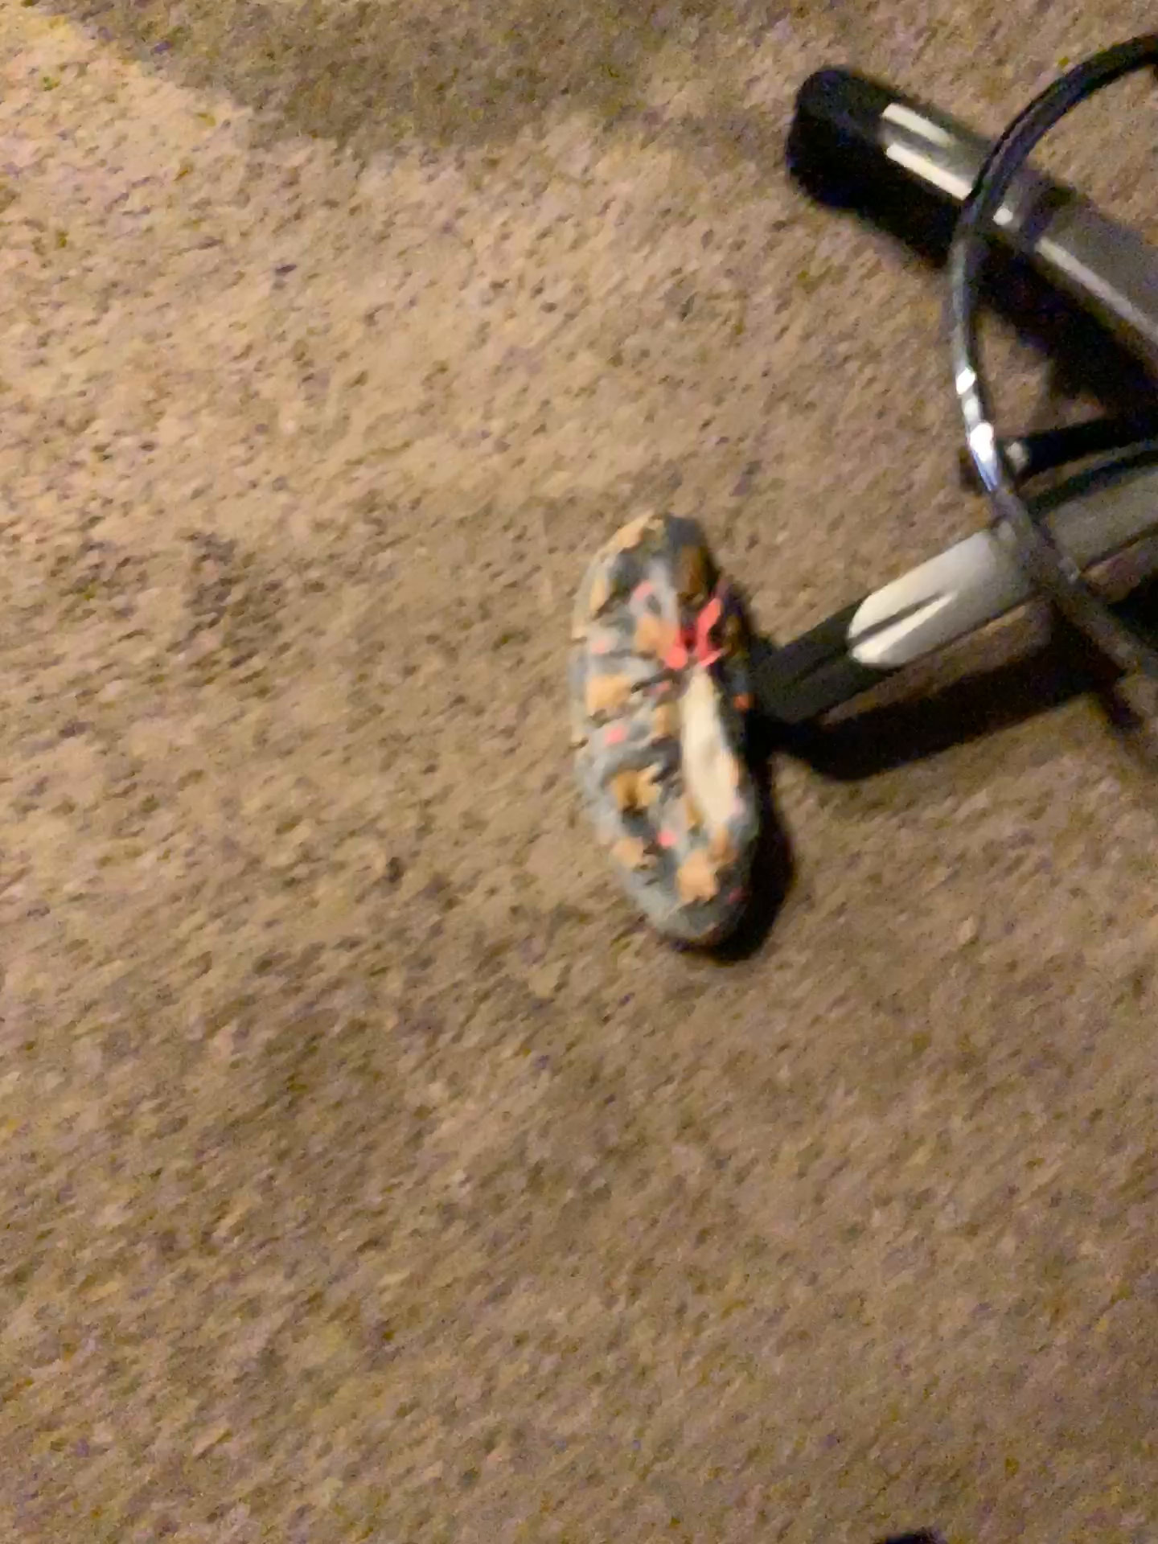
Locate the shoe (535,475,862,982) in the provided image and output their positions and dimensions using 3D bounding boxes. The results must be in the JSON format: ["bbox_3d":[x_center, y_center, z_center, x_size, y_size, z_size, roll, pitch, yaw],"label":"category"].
[{"bbox_3d":[0.060,-0.025,0.723,0.120,0.070,0.260,-9,78,-9],"label":"shoe"}]
